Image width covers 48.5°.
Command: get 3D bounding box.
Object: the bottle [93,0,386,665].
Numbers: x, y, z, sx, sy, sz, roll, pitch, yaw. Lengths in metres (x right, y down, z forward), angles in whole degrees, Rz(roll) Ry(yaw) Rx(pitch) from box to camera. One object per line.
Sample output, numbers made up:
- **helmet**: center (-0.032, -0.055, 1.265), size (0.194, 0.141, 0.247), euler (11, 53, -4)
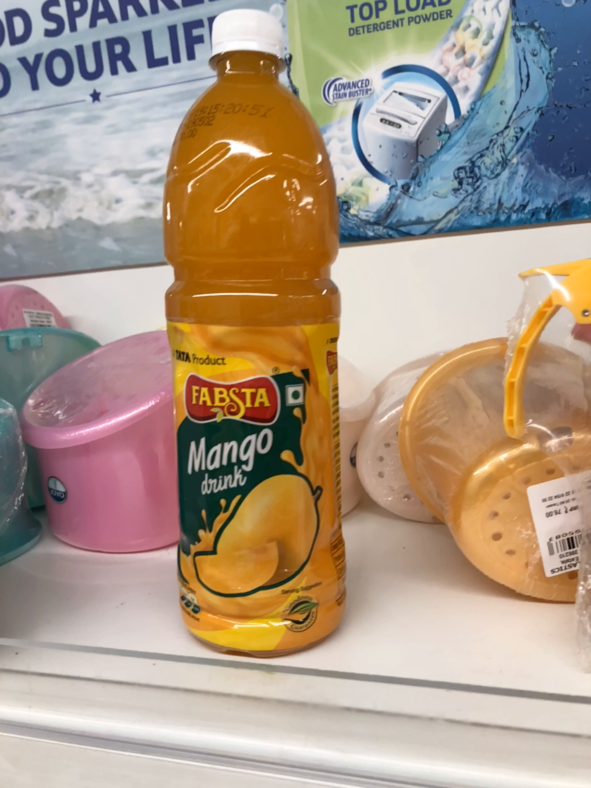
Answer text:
- **bottle**: center (-0.015, -0.023, 0.296), size (0.090, 0.259, 0.080), euler (-2, 8, 13)
